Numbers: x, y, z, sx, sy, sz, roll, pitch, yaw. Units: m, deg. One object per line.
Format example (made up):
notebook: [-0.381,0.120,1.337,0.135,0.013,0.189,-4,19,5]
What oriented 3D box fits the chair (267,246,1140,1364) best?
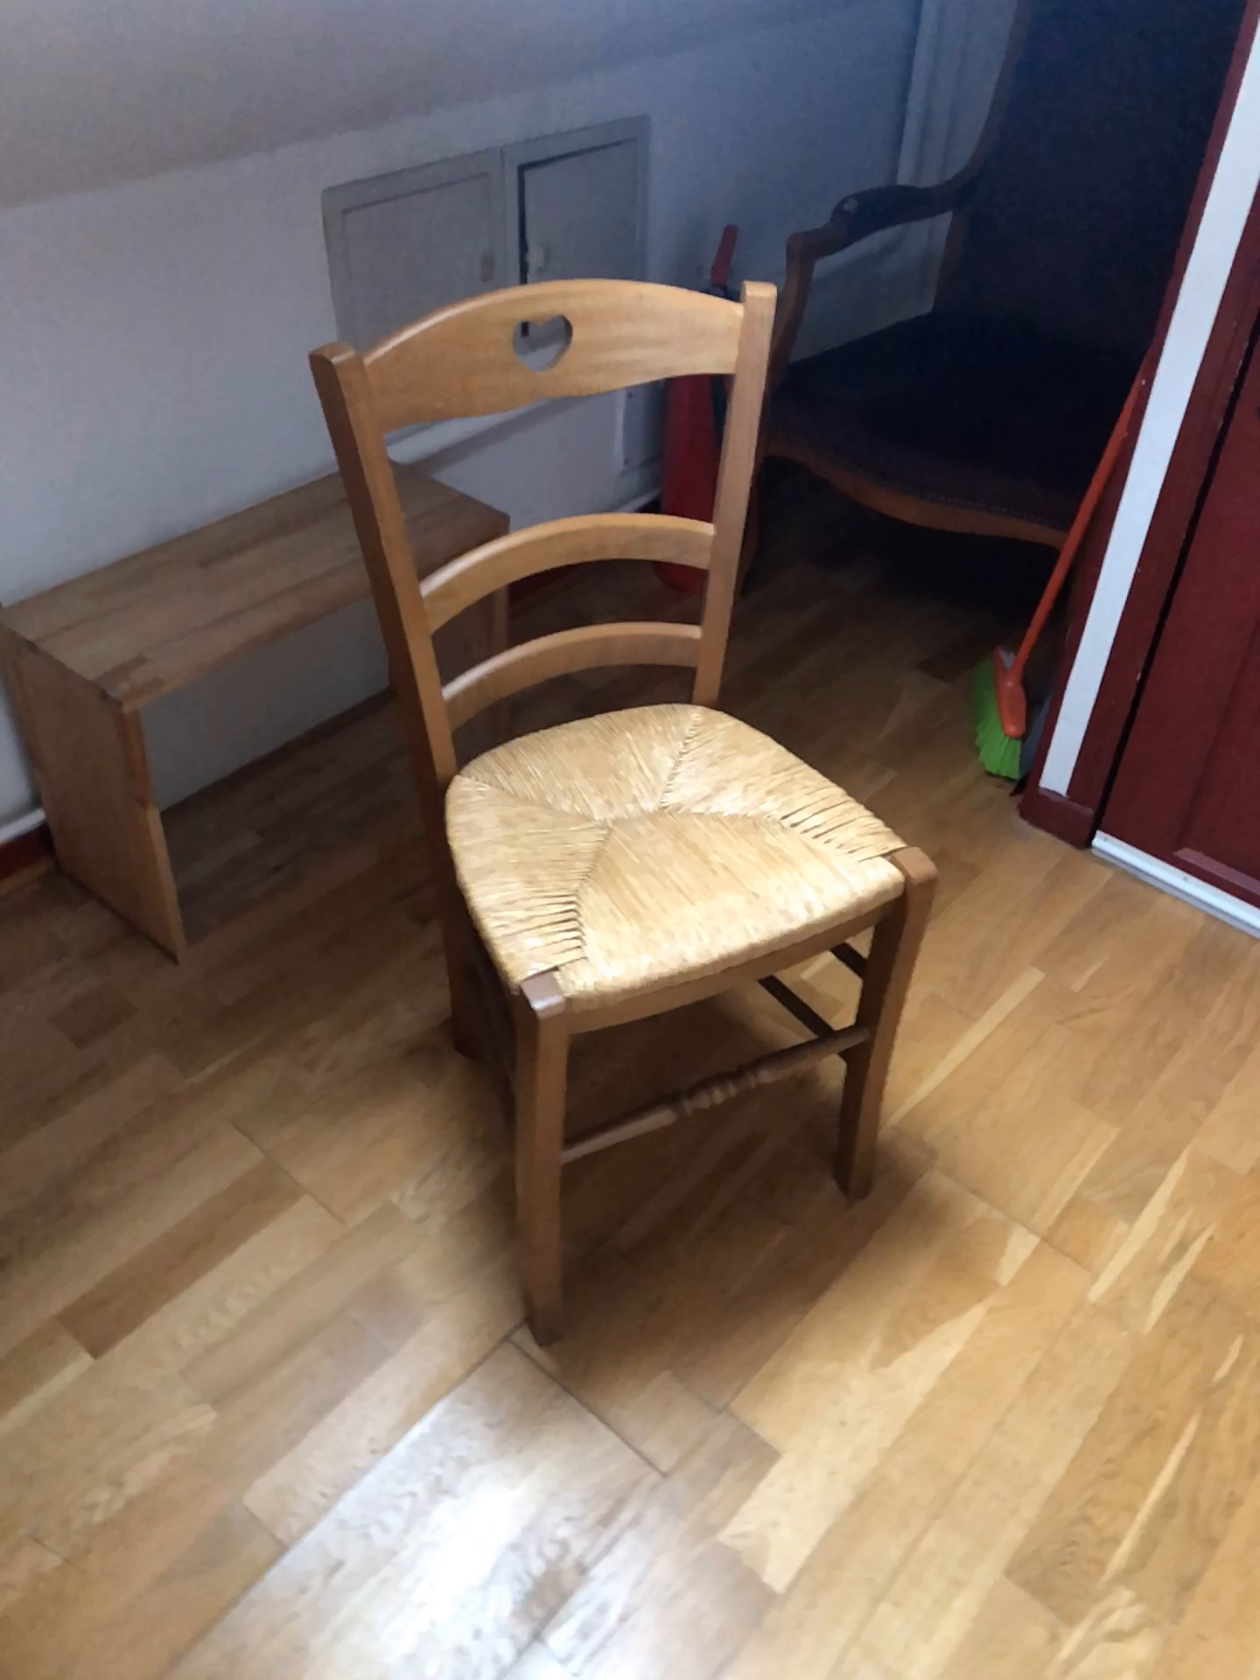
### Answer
chair: [0.018,-0.026,1.221,0.460,0.792,0.434,-18,44,-24]
